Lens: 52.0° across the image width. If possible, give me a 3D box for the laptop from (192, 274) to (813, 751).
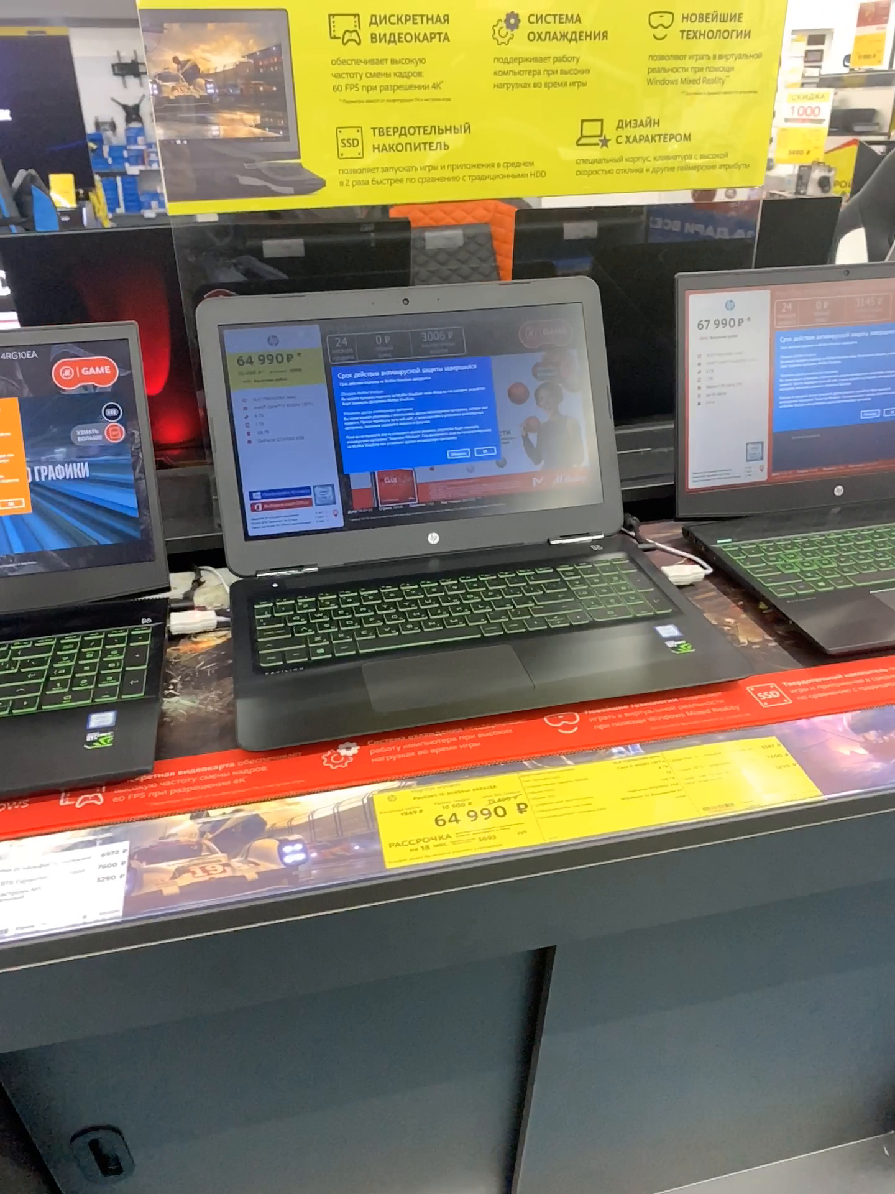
[{"bbox_3d":[0.002,-0.109,0.757,0.384,0.223,0.380,-7,29,-12],"label":"laptop"}]
